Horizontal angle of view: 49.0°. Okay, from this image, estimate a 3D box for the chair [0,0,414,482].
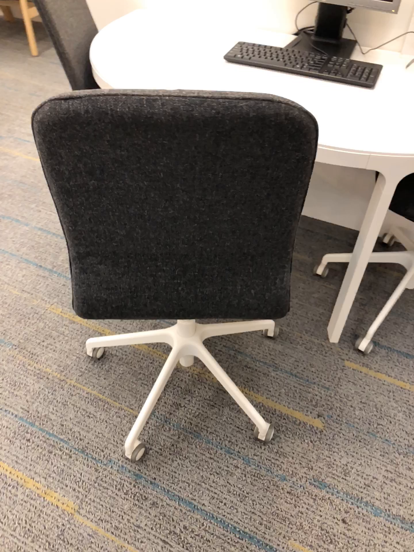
[{"bbox_3d":[-0.086,-0.050,1.068,0.630,0.993,0.634,2,45,1],"label":"chair"}]
